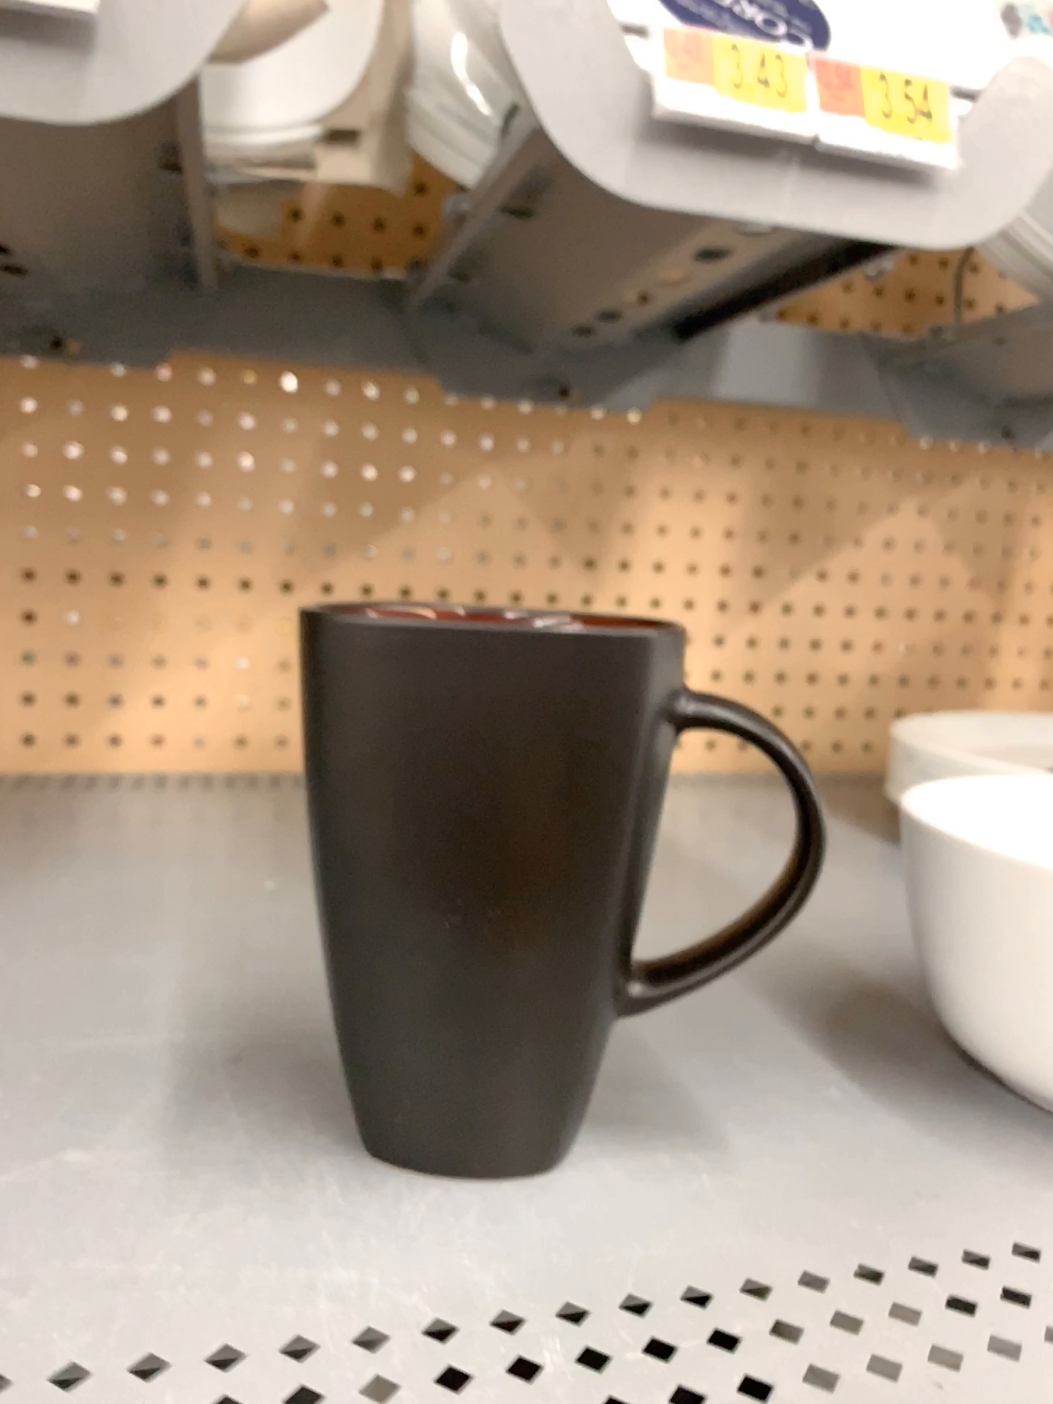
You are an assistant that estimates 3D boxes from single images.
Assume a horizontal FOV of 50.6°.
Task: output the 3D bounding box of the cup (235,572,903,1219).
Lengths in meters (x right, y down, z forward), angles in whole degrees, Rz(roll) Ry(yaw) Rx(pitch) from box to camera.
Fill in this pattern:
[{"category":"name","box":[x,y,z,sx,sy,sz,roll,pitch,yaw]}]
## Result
[{"category":"cup","box":[0.005,0.038,0.273,0.130,0.130,0.090,3,7,-3]}]
